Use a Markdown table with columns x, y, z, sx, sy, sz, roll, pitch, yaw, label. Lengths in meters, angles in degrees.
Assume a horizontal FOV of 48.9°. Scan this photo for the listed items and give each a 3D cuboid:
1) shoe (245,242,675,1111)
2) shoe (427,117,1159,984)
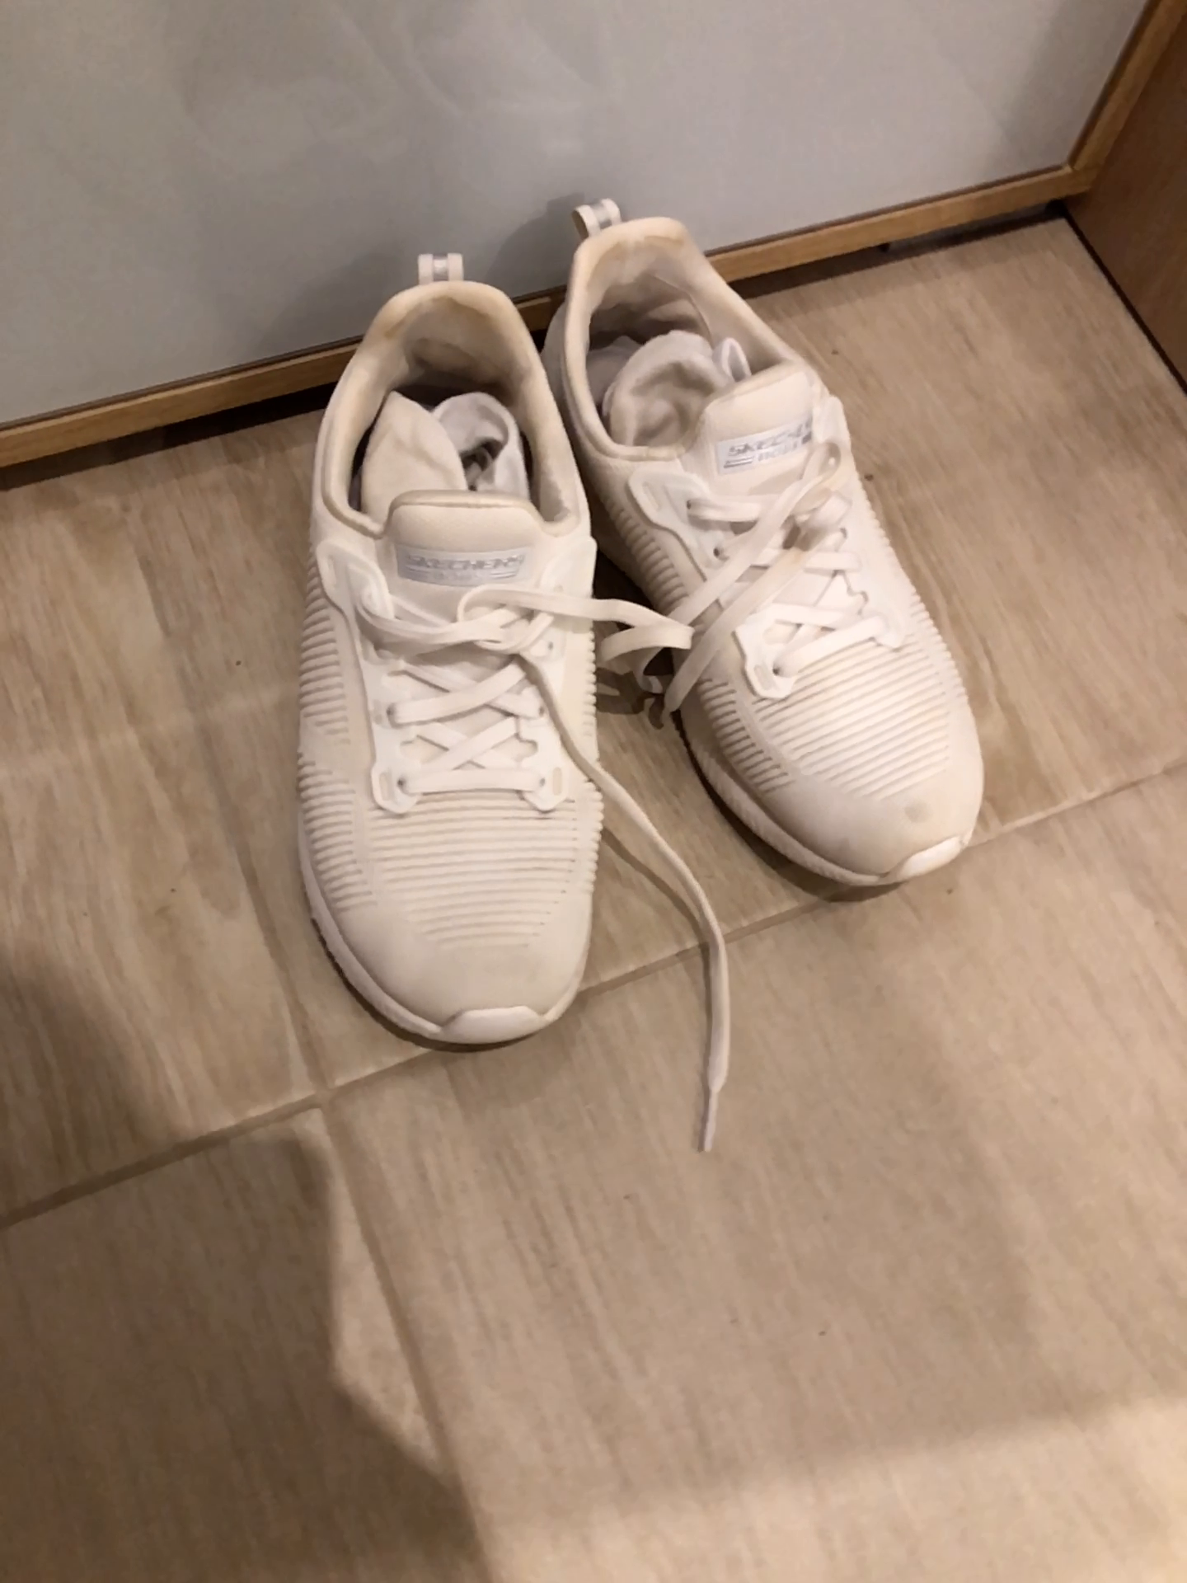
| x | y | z | sx | sy | sz | roll | pitch | yaw | label |
| --- | --- | --- | --- | --- | --- | --- | --- | --- | --- |
| -0.053 | -0.043 | 0.445 | 0.110 | 0.110 | 0.271 | -4 | 67 | -8 | shoe |
| 0.052 | -0.090 | 0.476 | 0.110 | 0.110 | 0.281 | -25 | 72 | -16 | shoe |
